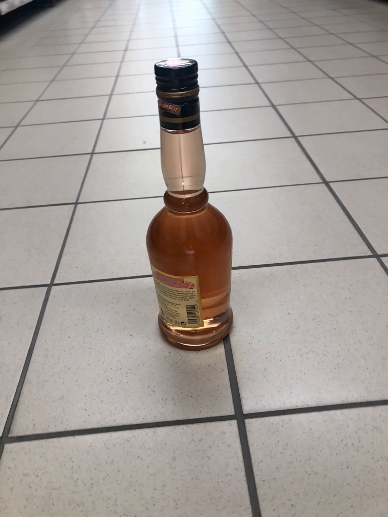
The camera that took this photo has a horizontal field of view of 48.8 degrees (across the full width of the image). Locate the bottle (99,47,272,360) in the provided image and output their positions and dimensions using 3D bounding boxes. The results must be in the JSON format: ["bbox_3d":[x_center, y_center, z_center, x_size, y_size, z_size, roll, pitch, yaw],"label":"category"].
[{"bbox_3d":[0.002,-0.039,0.363,0.090,0.239,0.080,19,41,29],"label":"bottle"}]
